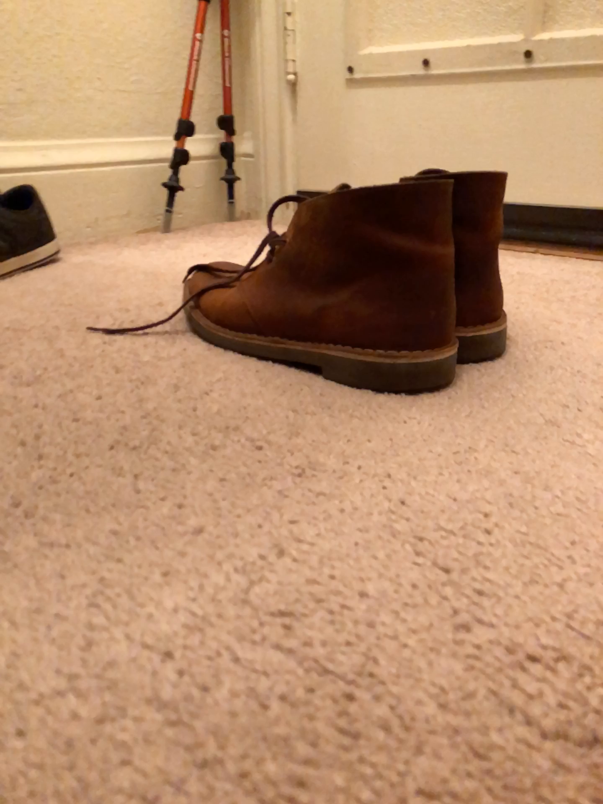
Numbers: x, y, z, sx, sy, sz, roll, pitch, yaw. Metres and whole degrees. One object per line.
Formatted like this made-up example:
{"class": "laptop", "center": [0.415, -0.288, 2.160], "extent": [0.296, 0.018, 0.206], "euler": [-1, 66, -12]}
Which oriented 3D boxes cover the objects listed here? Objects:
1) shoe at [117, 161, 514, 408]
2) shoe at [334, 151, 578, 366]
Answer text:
{"class": "shoe", "center": [-0.004, -0.115, 0.533], "extent": [0.304, 0.138, 0.111], "euler": [18, 29, 36]}
{"class": "shoe", "center": [0.117, -0.155, 0.621], "extent": [0.110, 0.138, 0.305], "euler": [-4, 24, -8]}
